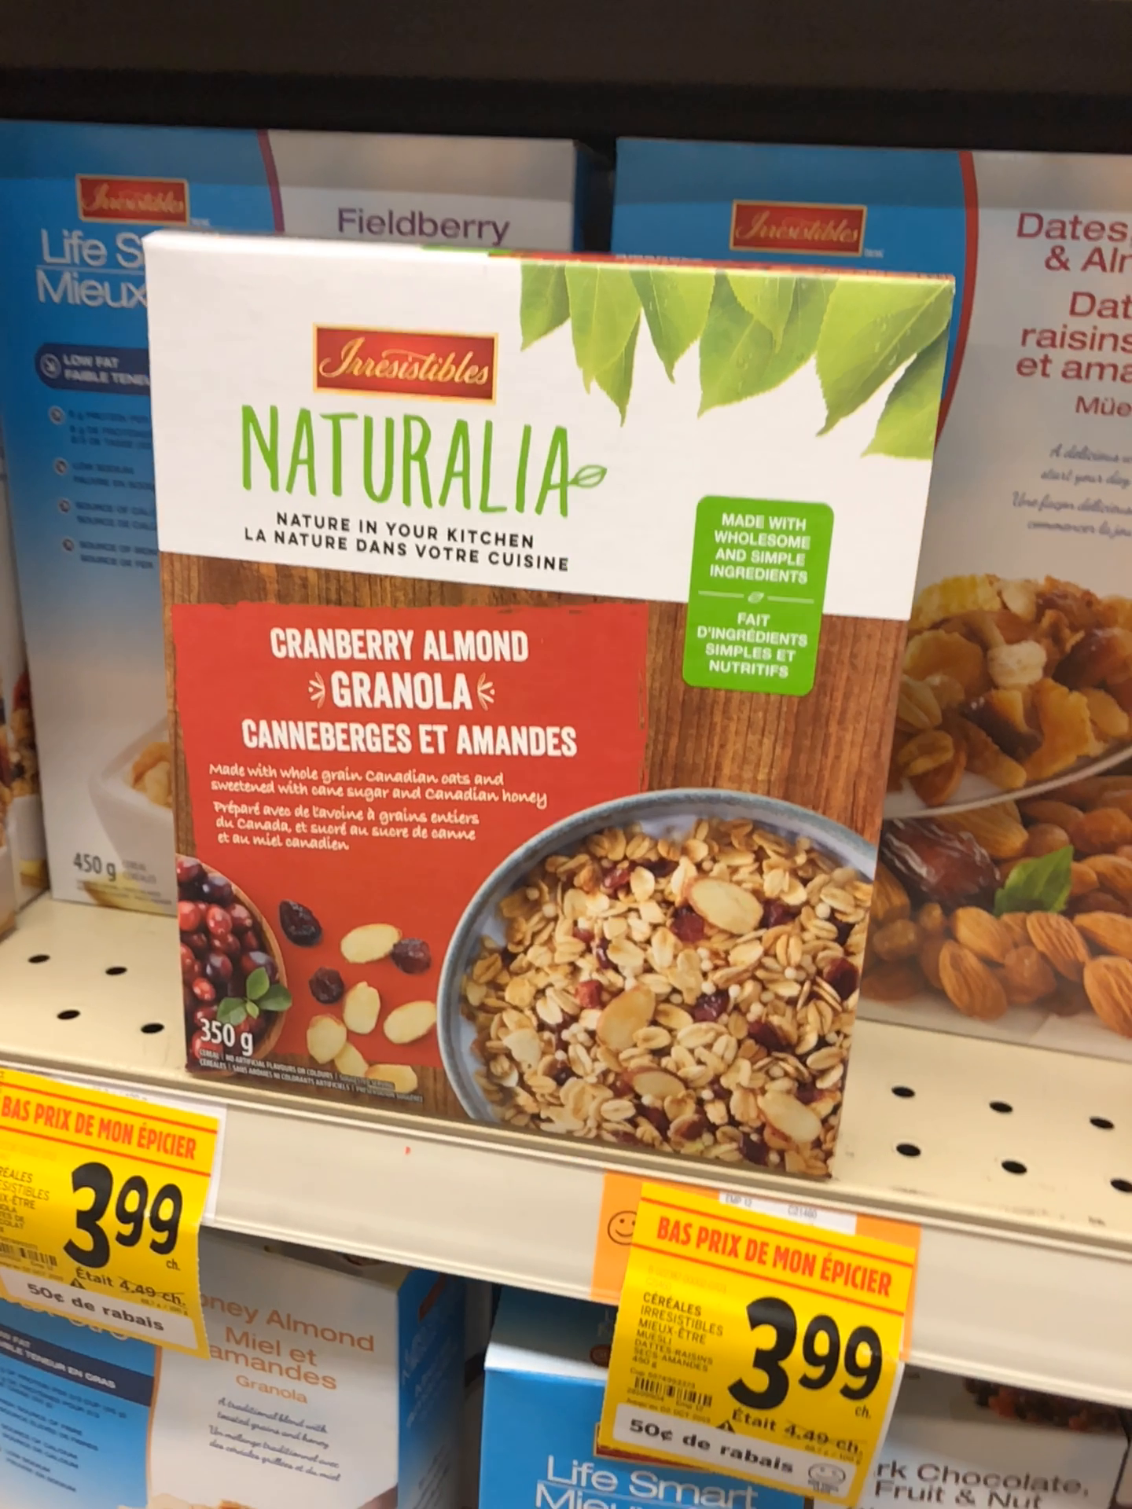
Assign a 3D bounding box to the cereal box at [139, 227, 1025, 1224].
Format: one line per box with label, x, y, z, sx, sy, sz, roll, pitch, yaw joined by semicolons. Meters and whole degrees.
cereal box;-0.001;-0.008;0.301;0.170;0.209;0.060;7;21;10
